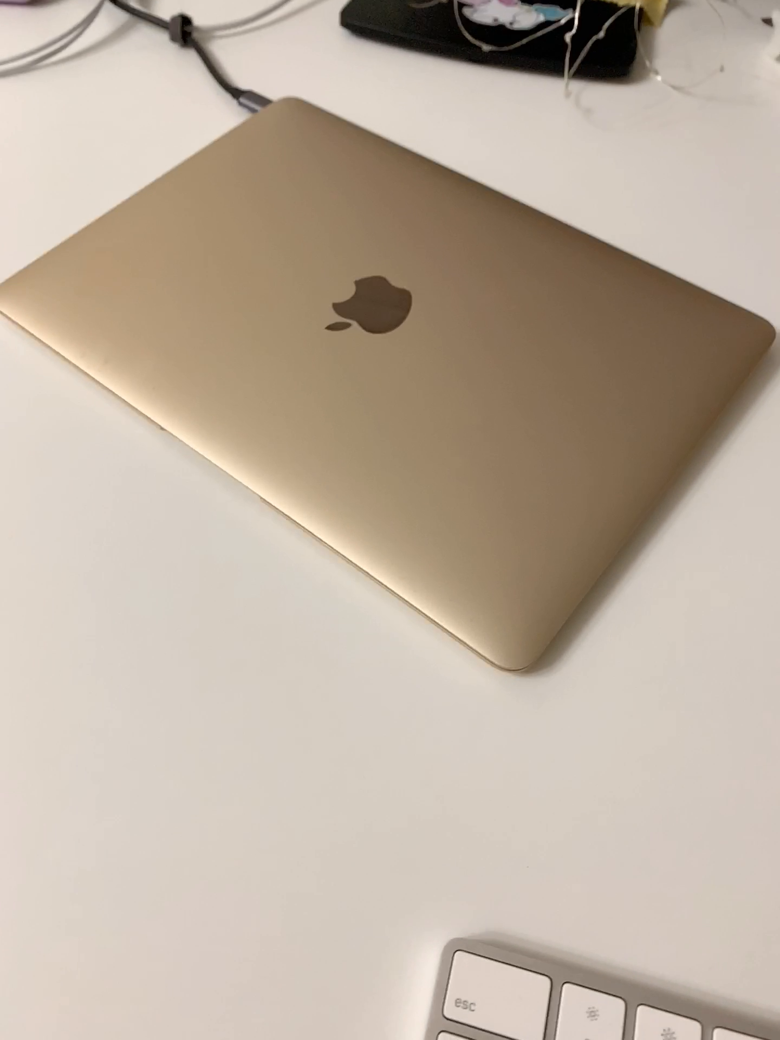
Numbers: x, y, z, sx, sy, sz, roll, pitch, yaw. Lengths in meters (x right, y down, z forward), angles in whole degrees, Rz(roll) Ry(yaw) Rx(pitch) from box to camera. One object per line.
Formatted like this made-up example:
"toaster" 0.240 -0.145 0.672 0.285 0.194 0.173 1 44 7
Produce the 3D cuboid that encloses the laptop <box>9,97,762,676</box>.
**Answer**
"laptop" -0.006 -0.080 0.335 0.255 0.013 0.173 34 66 19
